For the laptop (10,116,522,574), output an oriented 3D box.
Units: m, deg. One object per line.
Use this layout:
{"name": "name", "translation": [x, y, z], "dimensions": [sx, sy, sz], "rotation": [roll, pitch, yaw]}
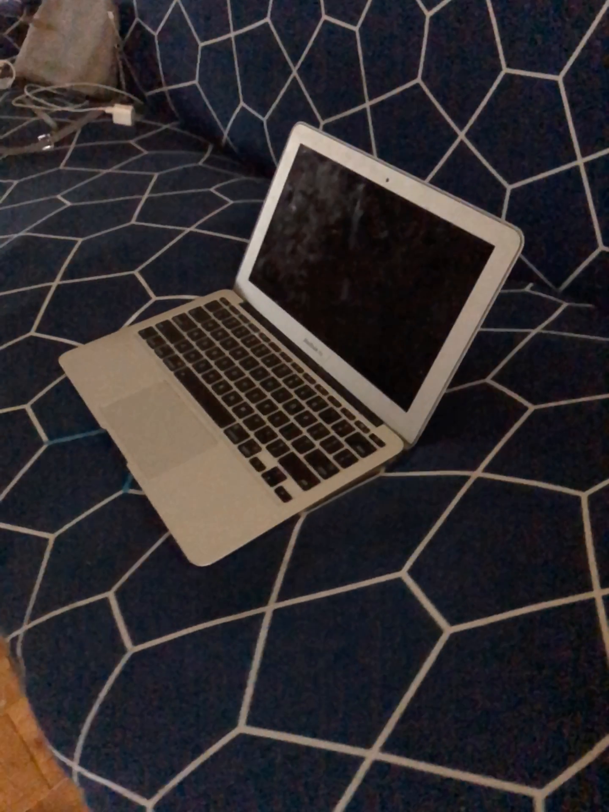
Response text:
{"name": "laptop", "translation": [-0.041, -0.081, 0.547], "dimensions": [0.279, 0.156, 0.282], "rotation": [-26, 48, -23]}
